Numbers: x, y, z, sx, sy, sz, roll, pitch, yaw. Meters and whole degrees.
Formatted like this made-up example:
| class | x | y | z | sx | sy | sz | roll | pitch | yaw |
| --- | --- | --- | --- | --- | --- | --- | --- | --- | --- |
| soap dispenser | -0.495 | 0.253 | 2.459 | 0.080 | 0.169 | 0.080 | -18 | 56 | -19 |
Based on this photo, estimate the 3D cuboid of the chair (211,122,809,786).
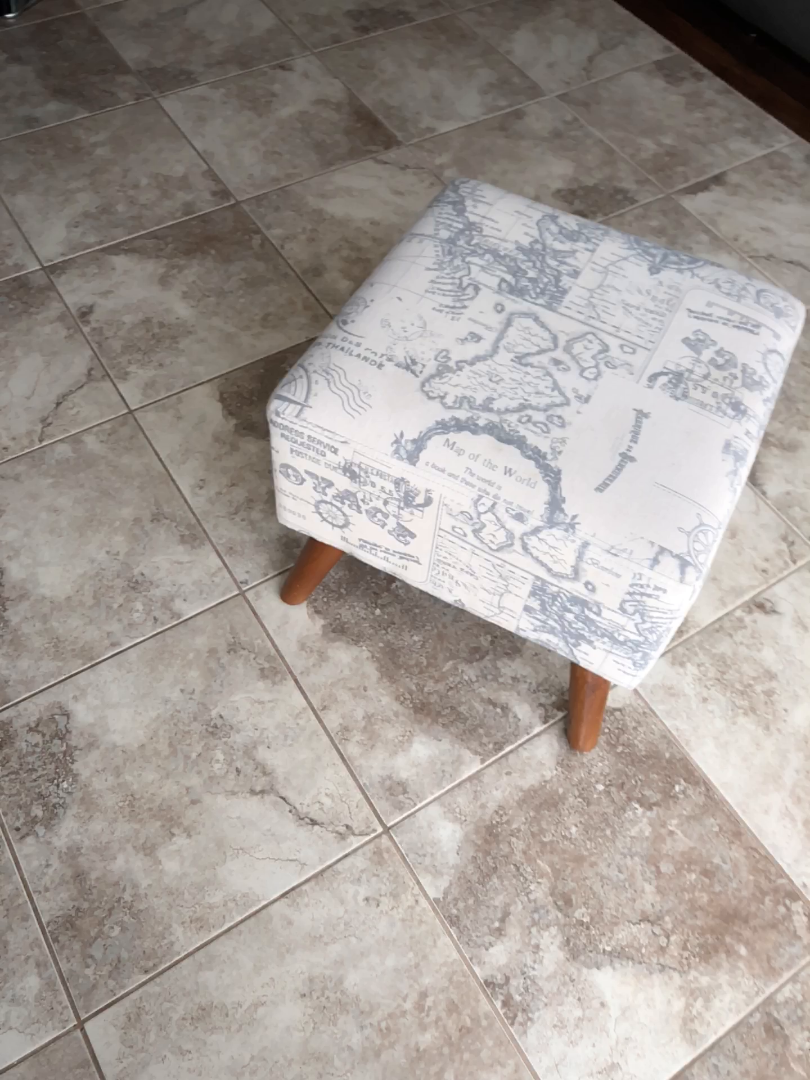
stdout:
| class | x | y | z | sx | sy | sz | roll | pitch | yaw |
| --- | --- | --- | --- | --- | --- | --- | --- | --- | --- |
| chair | 0.130 | -0.100 | 0.925 | 0.420 | 0.319 | 0.471 | 26 | 59 | 12 |
